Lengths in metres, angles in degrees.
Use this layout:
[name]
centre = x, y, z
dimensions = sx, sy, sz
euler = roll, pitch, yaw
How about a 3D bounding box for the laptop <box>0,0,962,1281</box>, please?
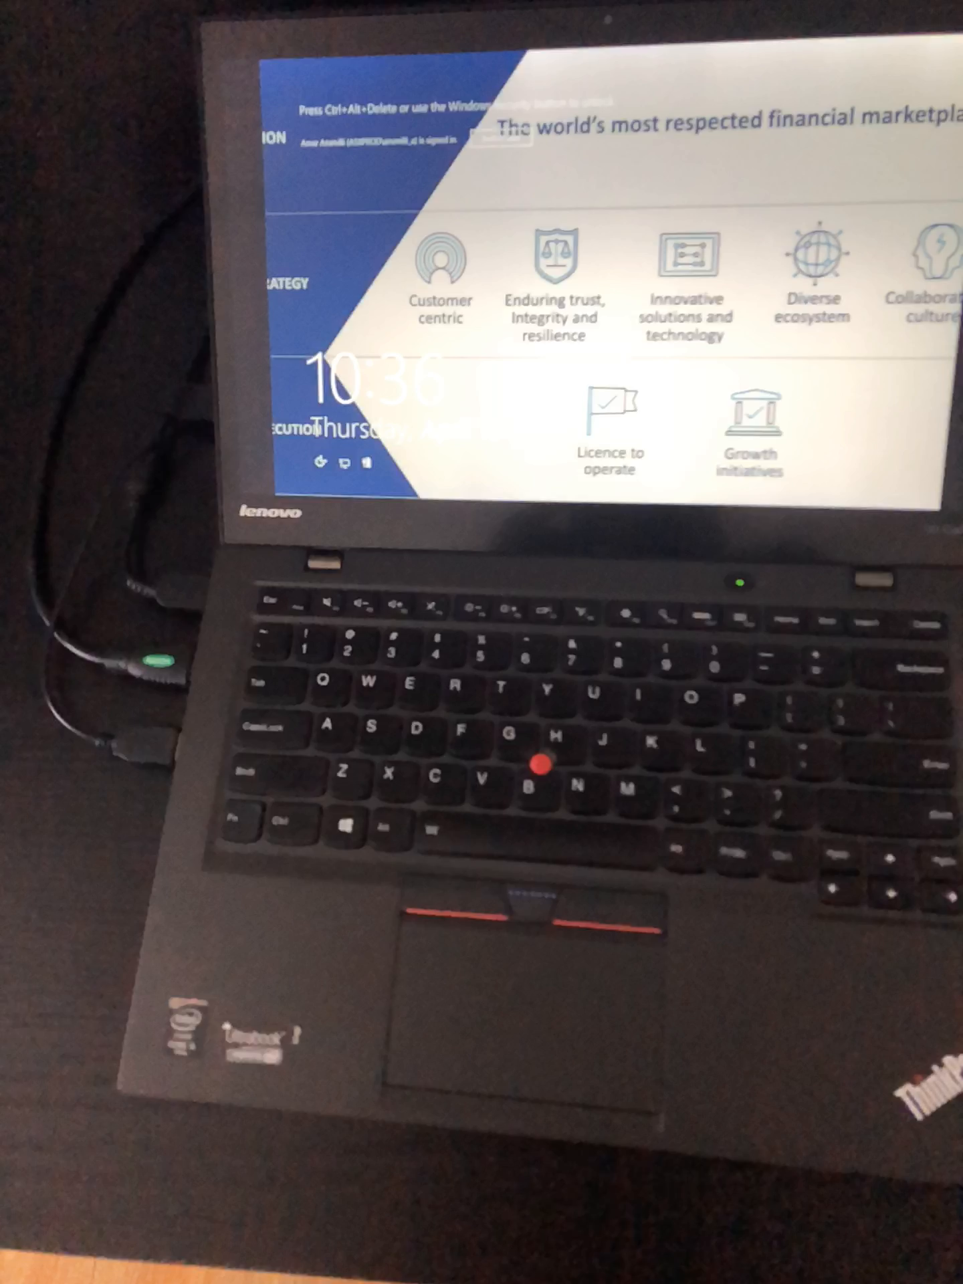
[laptop]
centre = 0.037, -0.032, 0.371
dimensions = 0.322, 0.117, 0.389
euler = 3, 72, 8
